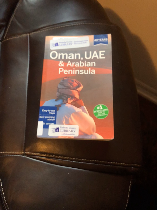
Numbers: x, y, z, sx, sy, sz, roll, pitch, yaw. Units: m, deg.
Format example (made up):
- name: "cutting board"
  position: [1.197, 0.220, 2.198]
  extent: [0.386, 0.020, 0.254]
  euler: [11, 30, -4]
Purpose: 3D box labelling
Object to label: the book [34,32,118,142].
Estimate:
- name: "book"
  position: [-0.003, -0.037, 0.329]
  extent: [0.137, 0.030, 0.203]
  euler: [0, 76, 3]
